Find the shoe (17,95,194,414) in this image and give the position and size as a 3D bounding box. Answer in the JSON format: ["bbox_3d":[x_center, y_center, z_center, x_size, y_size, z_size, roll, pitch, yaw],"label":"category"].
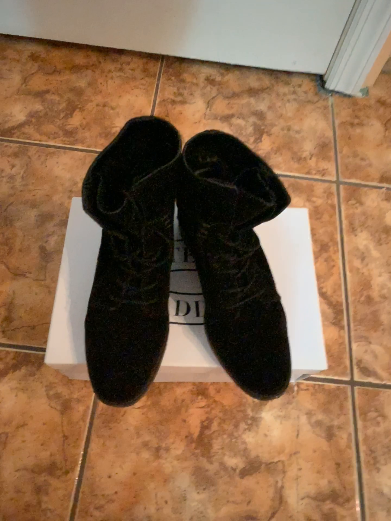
[{"bbox_3d":[-0.064,-0.002,0.382,0.094,0.152,0.258,6,62,-2],"label":"shoe"}]

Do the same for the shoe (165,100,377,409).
[{"bbox_3d":[0.047,-0.008,0.406,0.107,0.142,0.268,-9,64,-10],"label":"shoe"}]
